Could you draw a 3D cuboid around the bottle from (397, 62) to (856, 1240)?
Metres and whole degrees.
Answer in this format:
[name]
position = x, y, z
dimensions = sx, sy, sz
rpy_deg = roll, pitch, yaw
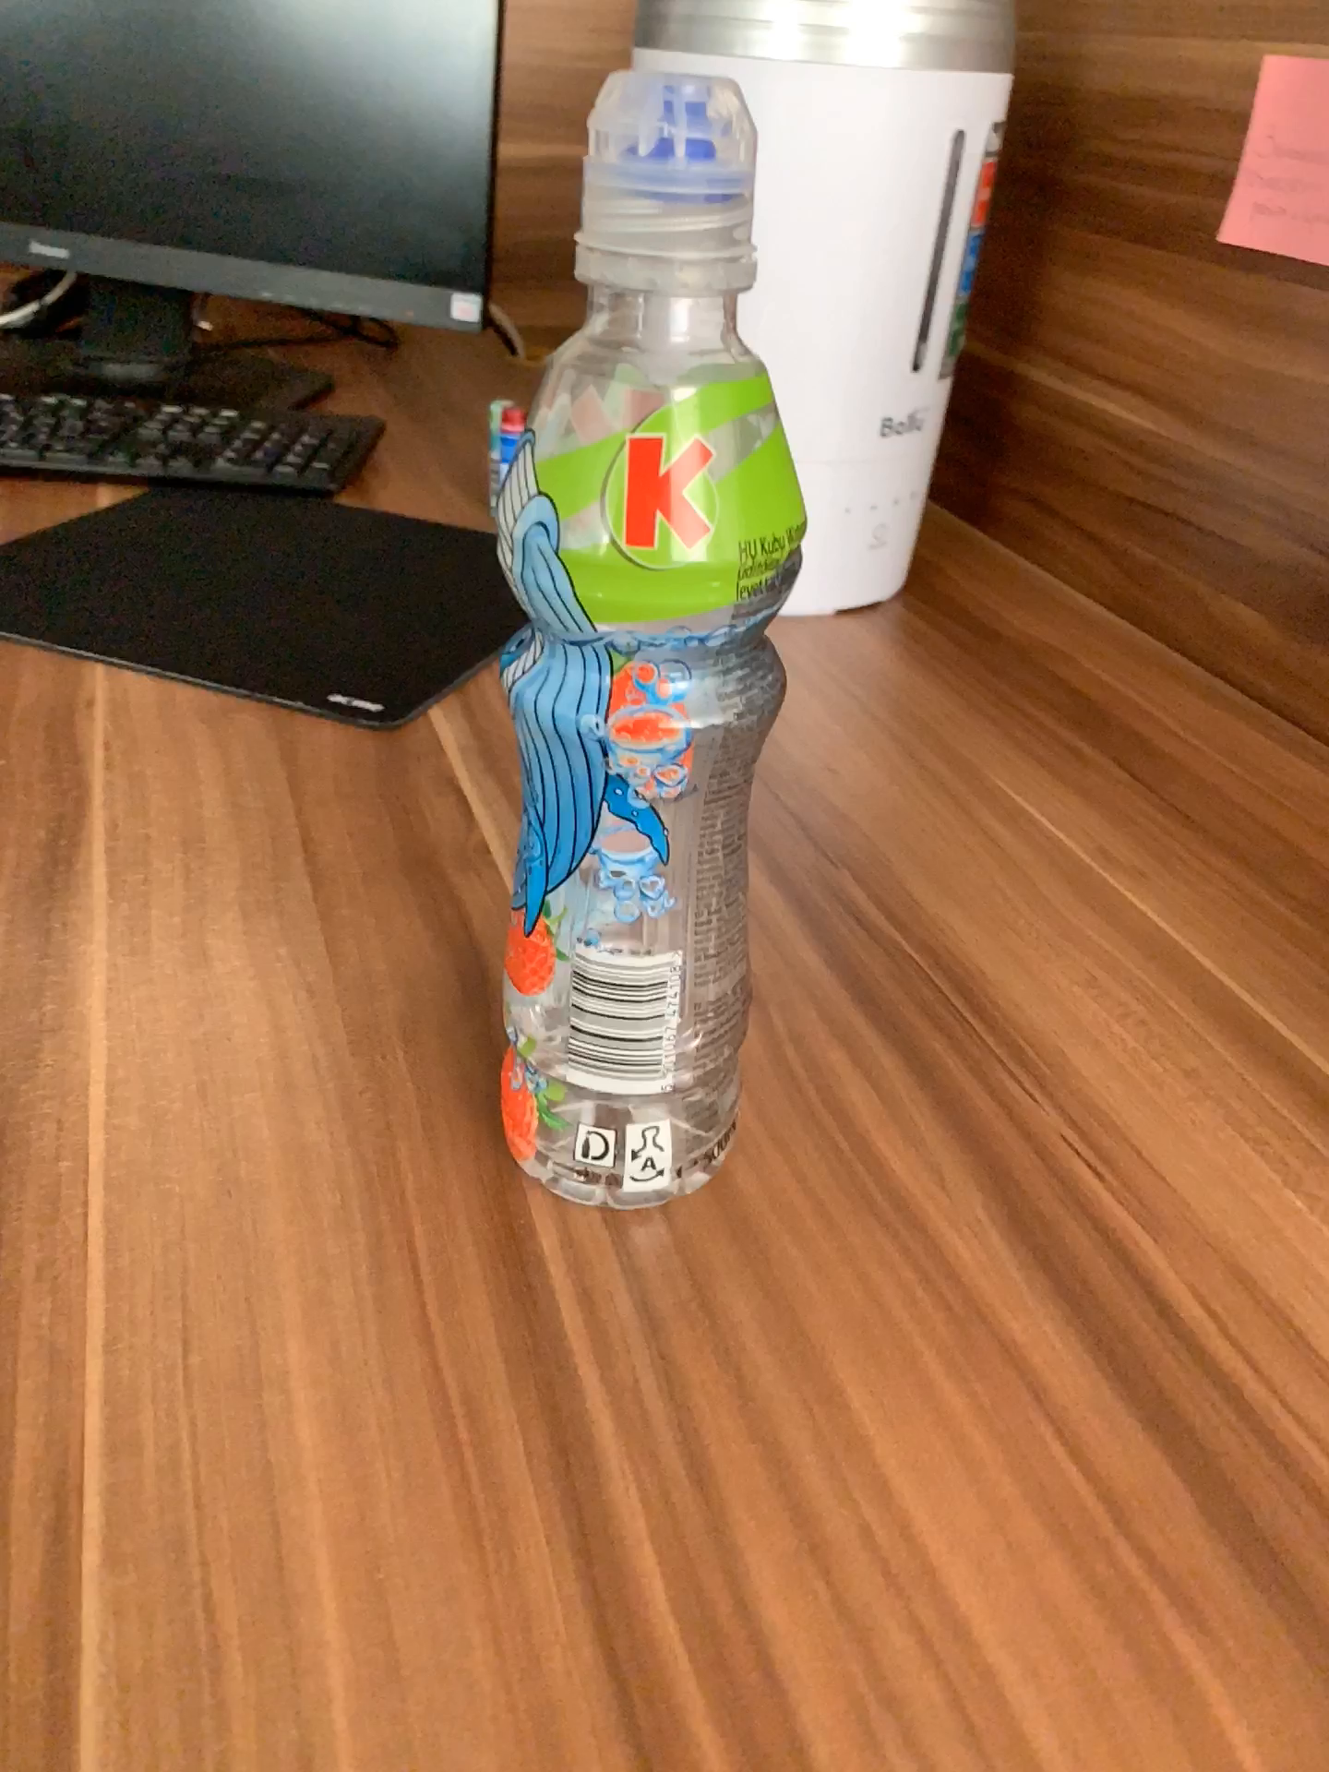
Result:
[bottle]
position = -0.009, -0.039, 0.300
dimensions = 0.070, 0.239, 0.070
rpy_deg = 3, 31, -2
